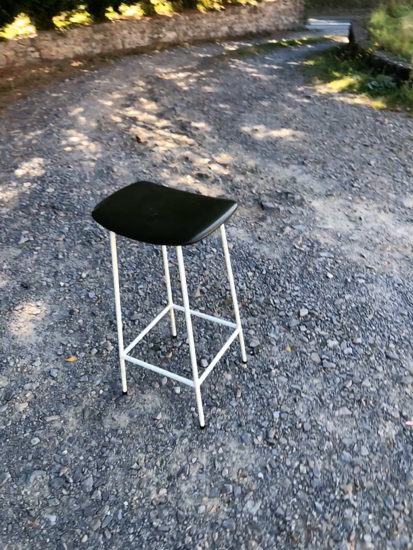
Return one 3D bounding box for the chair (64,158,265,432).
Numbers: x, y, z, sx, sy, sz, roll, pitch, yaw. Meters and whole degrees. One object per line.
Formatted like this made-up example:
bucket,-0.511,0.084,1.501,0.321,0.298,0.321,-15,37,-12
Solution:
chair,-0.086,0.057,1.348,0.370,0.647,0.372,17,41,23
